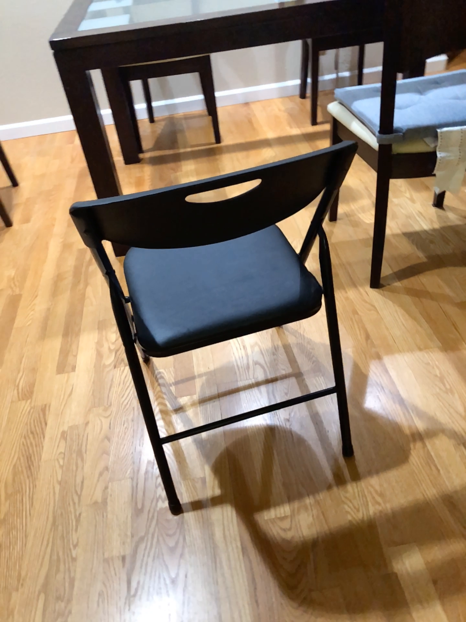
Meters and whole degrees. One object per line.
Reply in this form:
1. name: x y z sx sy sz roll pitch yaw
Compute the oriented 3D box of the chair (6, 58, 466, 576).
1. chair: -0.005 -0.033 1.049 0.610 0.656 0.684 -15 41 -8
